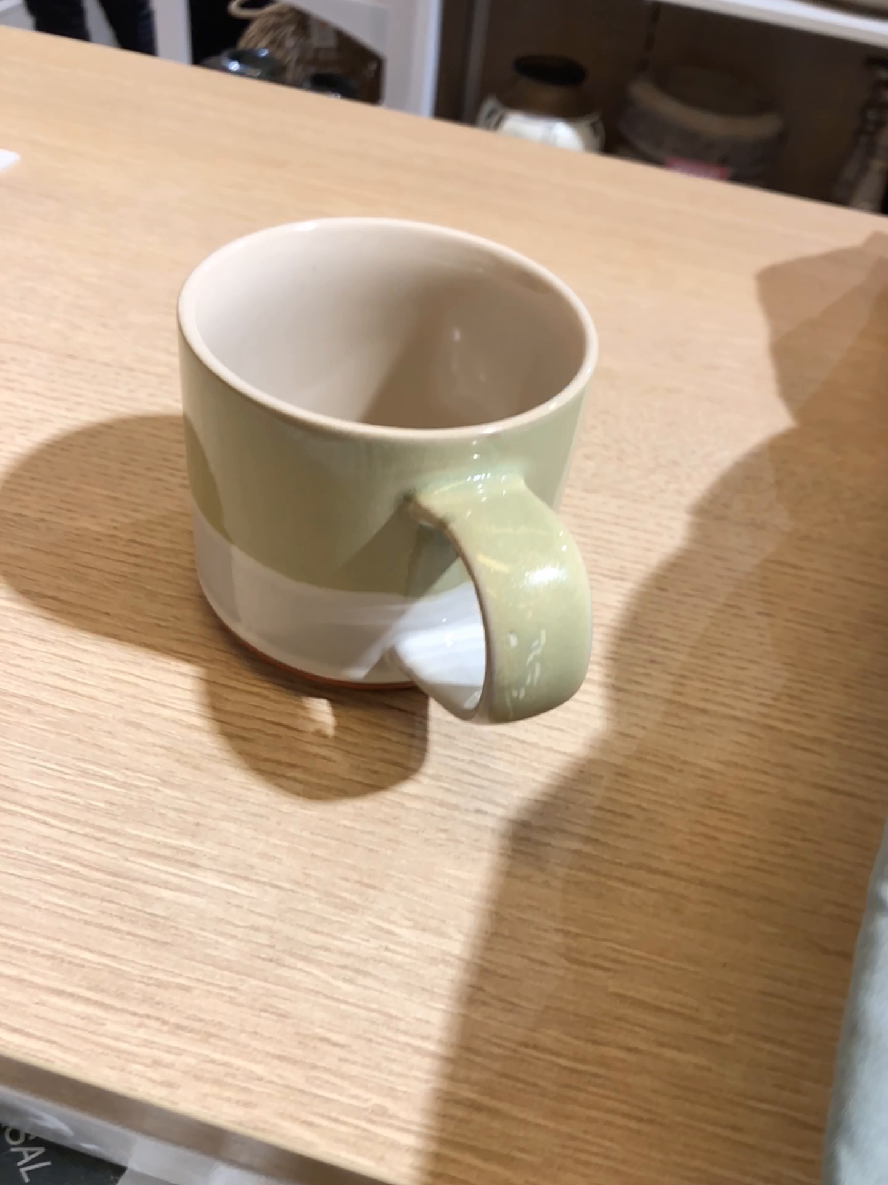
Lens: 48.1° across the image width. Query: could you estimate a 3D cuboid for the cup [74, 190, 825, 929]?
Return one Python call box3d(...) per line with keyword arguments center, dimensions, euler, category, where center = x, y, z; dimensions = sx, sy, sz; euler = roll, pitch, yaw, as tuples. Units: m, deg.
box3d(center=(-0.011, -0.021, 0.232), dimensions=(0.100, 0.079, 0.141), euler=(-17, 49, -25), category="cup")
